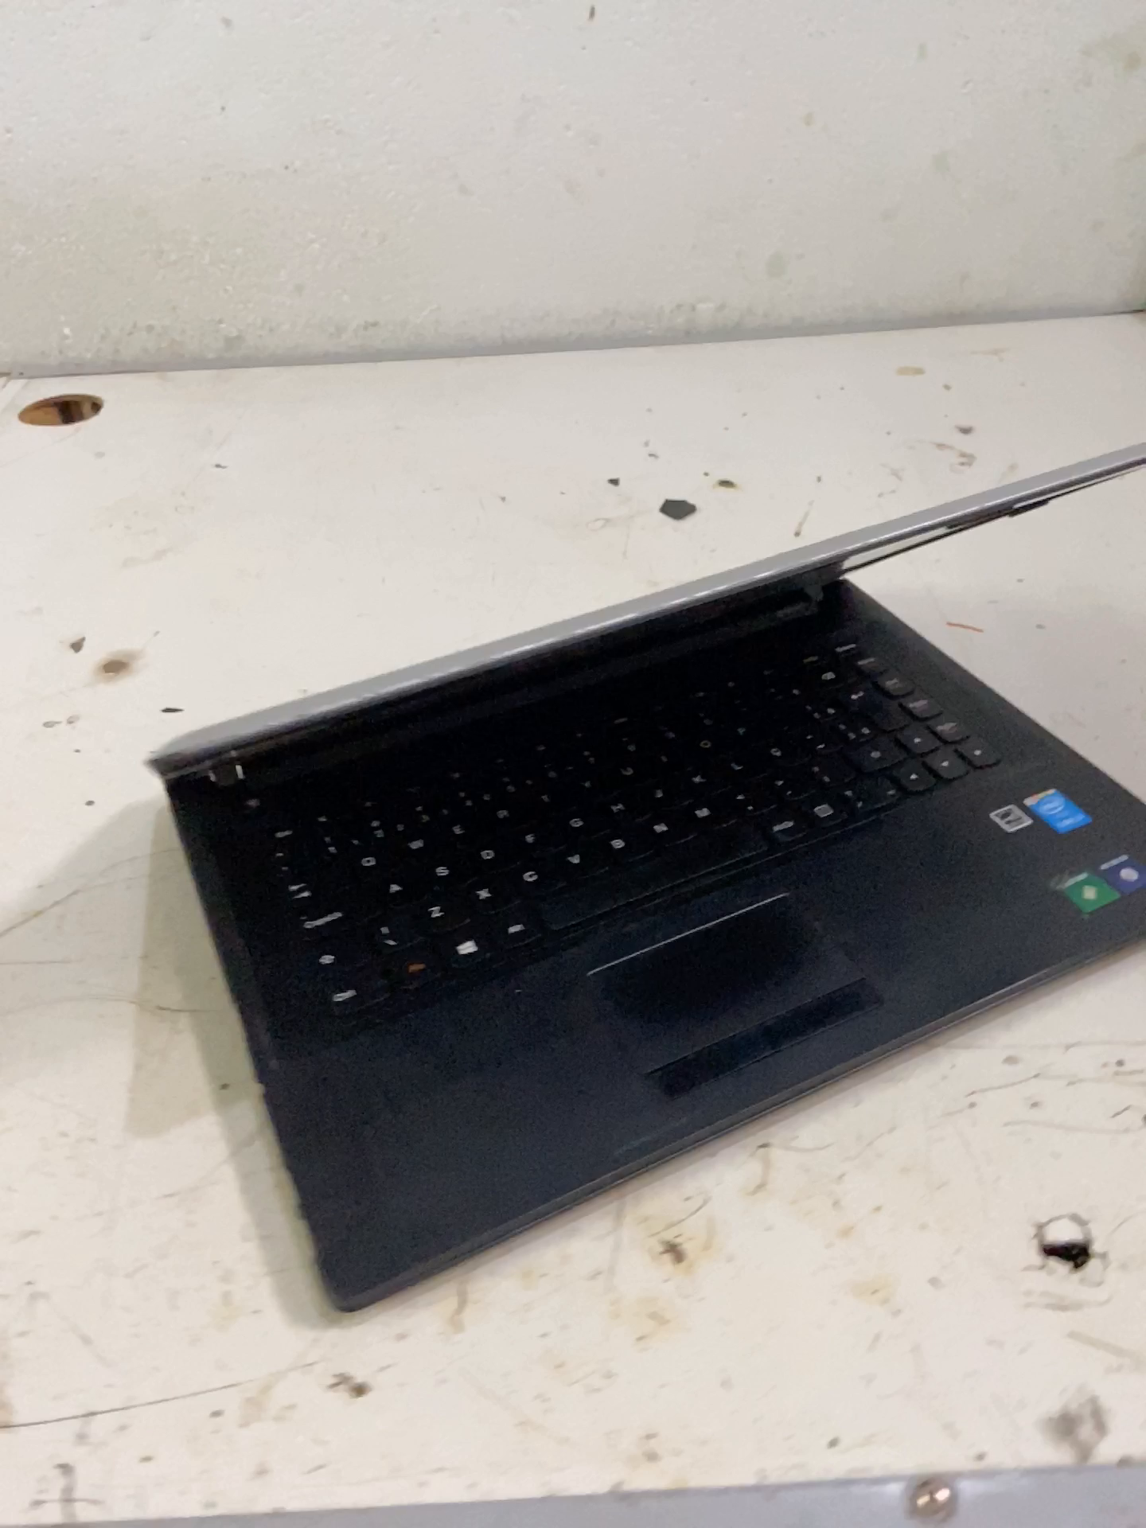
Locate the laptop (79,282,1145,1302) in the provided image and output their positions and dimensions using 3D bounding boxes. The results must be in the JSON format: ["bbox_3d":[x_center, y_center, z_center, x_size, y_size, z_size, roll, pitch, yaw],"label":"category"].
[{"bbox_3d":[0.040,-0.031,0.421,0.344,0.148,0.246,-19,42,-18],"label":"laptop"}]
